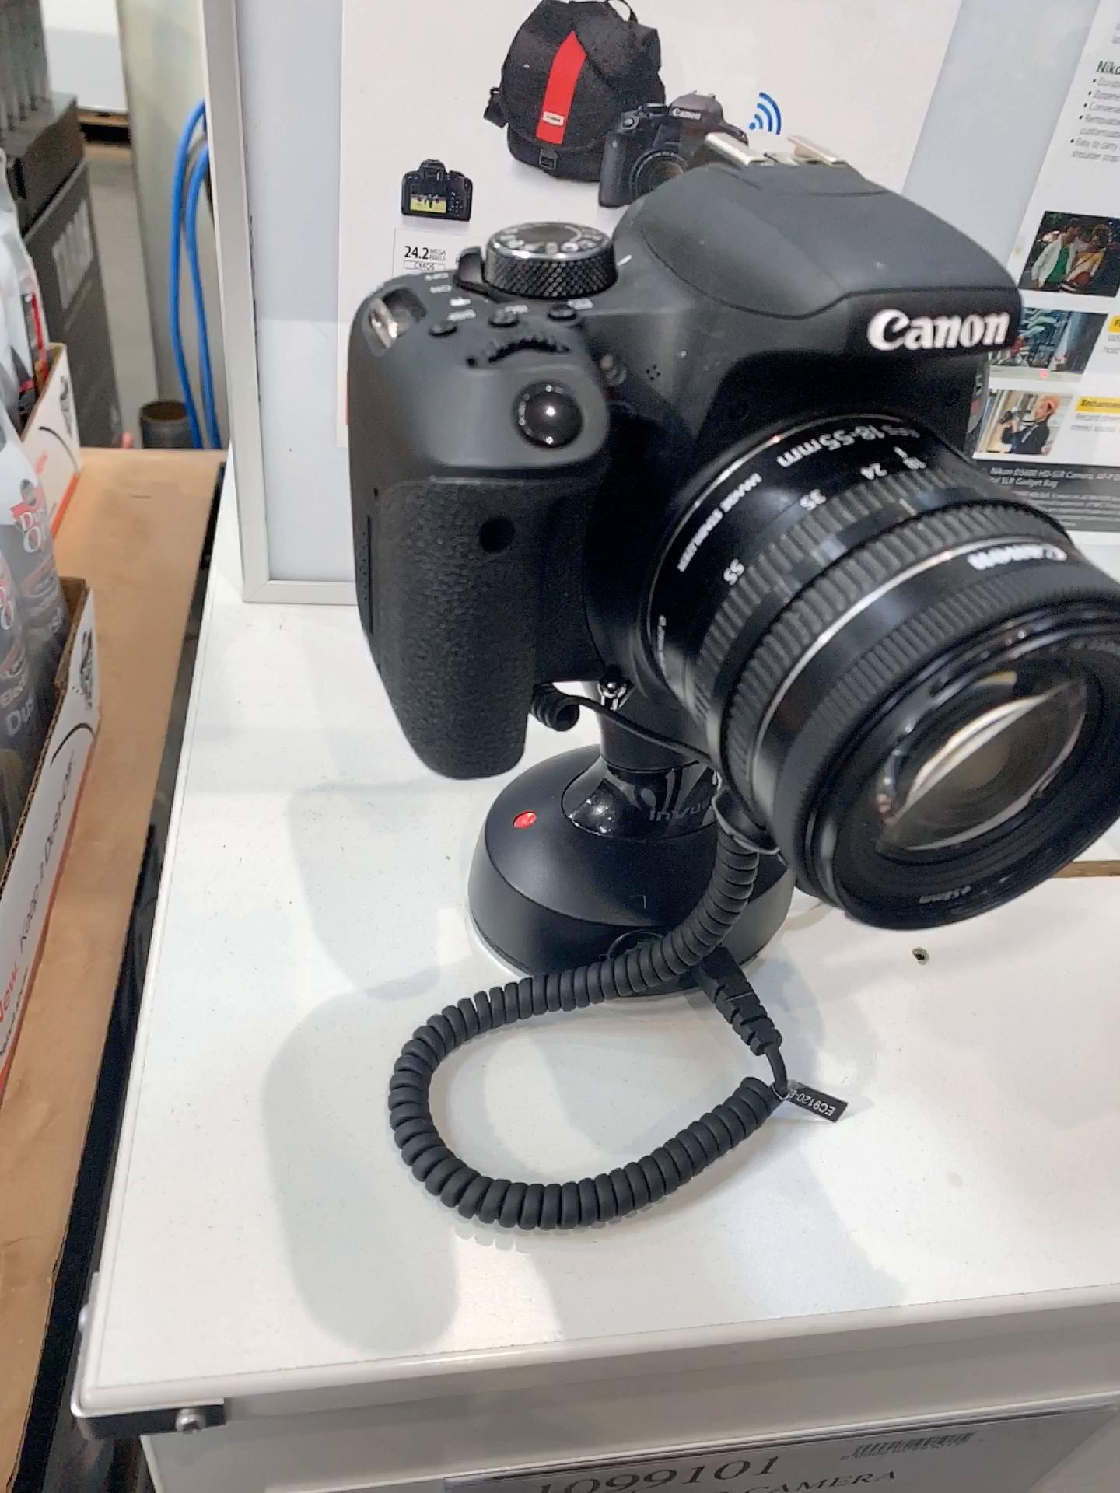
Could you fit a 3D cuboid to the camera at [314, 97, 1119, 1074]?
[{"bbox_3d":[0.038,-0.038,0.188,0.134,0.089,0.121,-7,42,-19],"label":"camera"}]
